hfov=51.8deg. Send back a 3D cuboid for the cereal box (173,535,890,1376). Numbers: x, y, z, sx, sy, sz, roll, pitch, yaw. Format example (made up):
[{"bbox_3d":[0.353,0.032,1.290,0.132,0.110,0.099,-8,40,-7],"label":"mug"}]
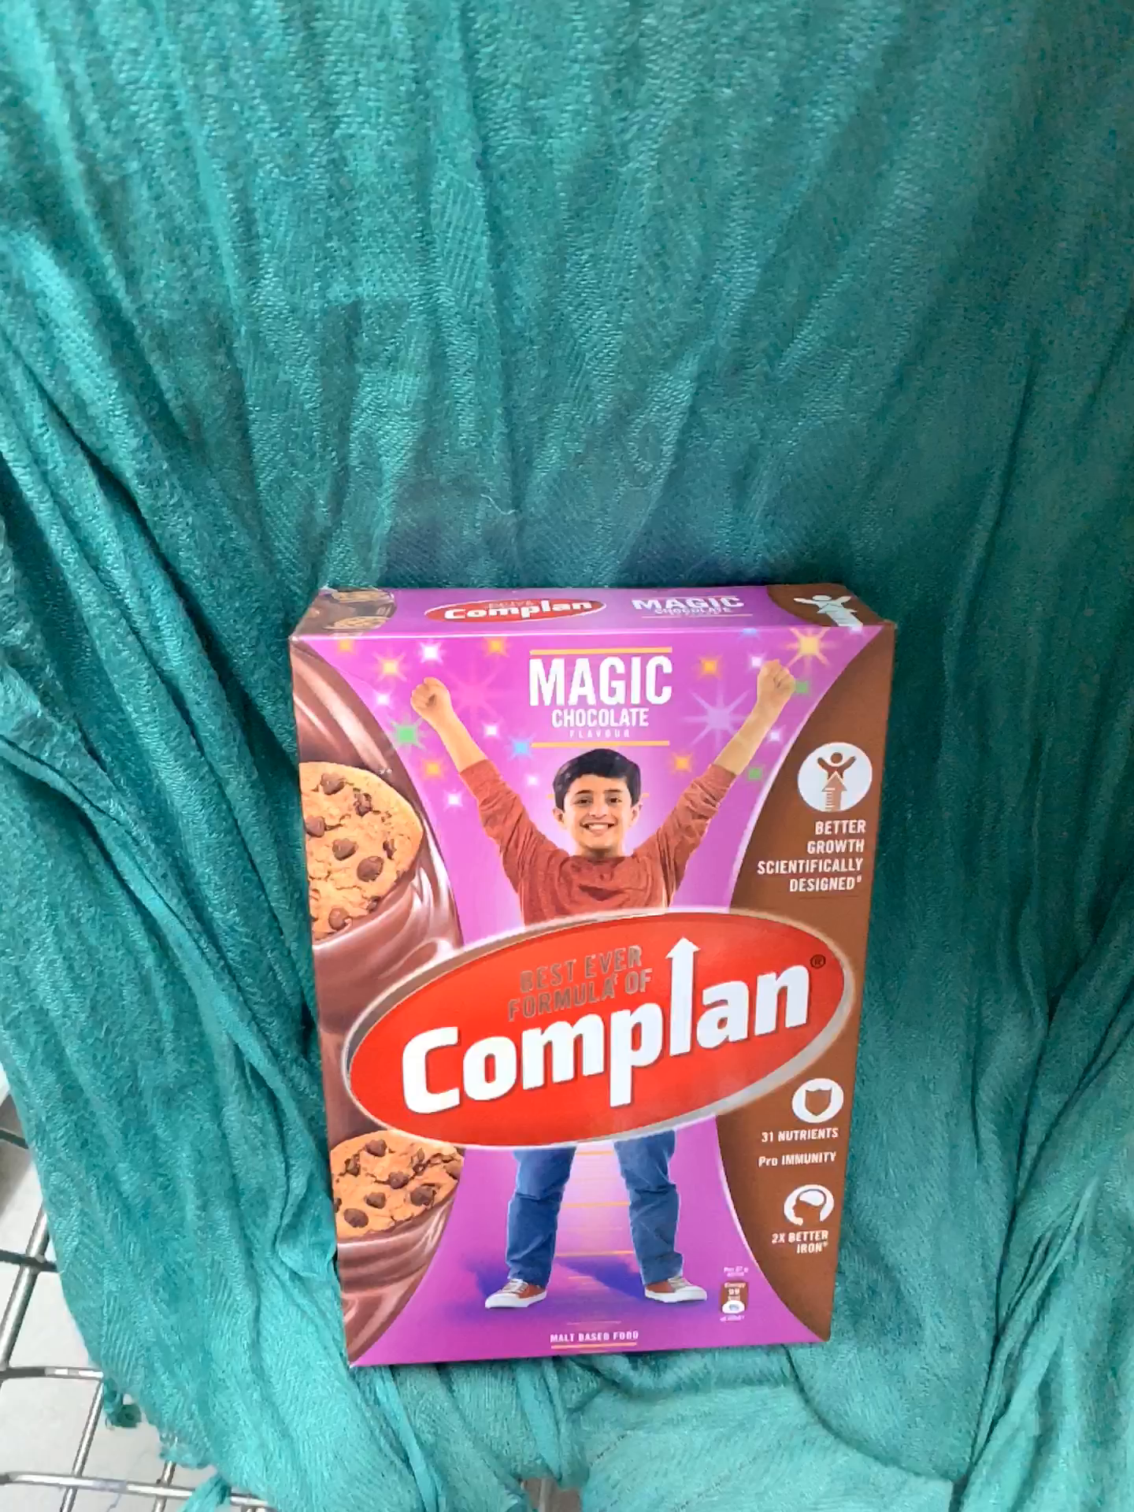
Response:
[{"bbox_3d":[-0.006,0.056,0.317,0.160,0.220,0.050,-2,17,-2],"label":"cereal box"}]
